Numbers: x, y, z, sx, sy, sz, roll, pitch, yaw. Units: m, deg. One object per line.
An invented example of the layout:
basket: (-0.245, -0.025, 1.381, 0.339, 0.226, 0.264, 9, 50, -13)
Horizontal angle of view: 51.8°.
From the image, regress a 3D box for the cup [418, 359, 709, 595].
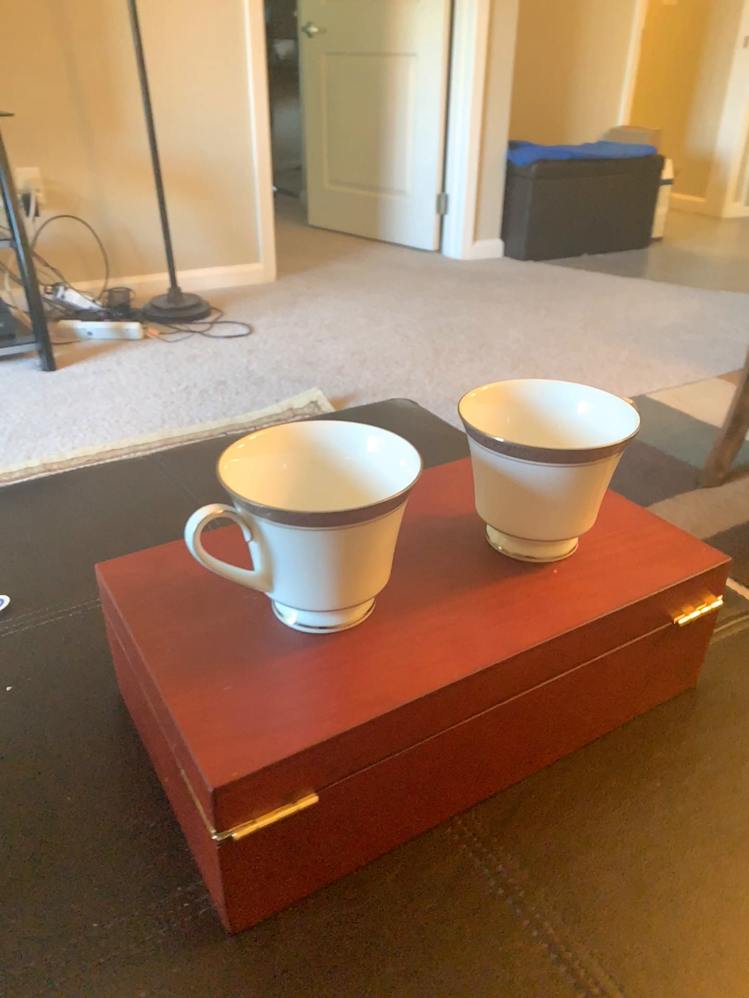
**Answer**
cup: (0.095, -0.018, 0.408, 0.110, 0.070, 0.090, -16, 34, -26)

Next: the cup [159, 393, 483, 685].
cup: (-0.025, 0.010, 0.346, 0.110, 0.070, 0.090, -16, 33, -26)
